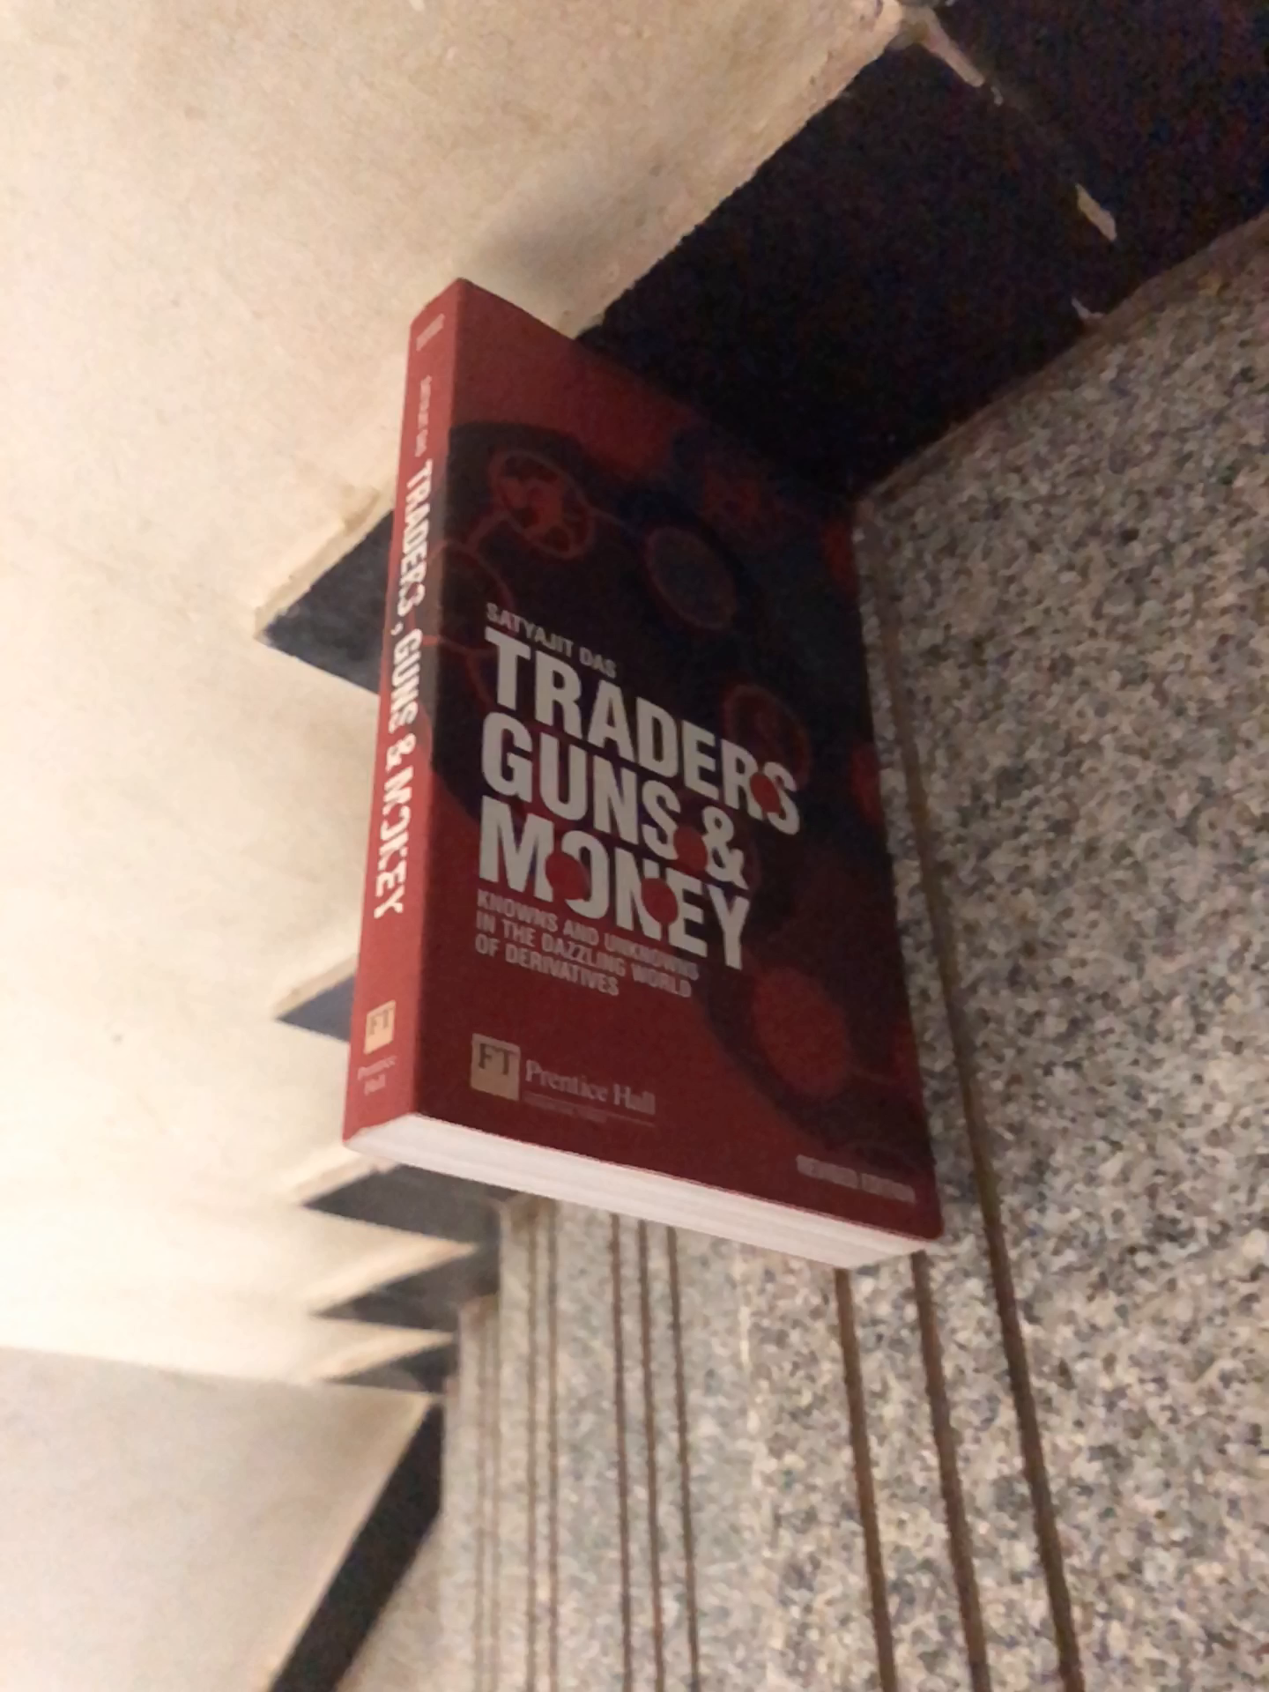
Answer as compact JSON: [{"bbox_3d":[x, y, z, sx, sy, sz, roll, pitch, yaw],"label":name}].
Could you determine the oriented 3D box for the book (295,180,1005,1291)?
[{"bbox_3d":[0.008,-0.028,0.326,0.030,0.149,0.230,-33,47,41],"label":"book"}]
